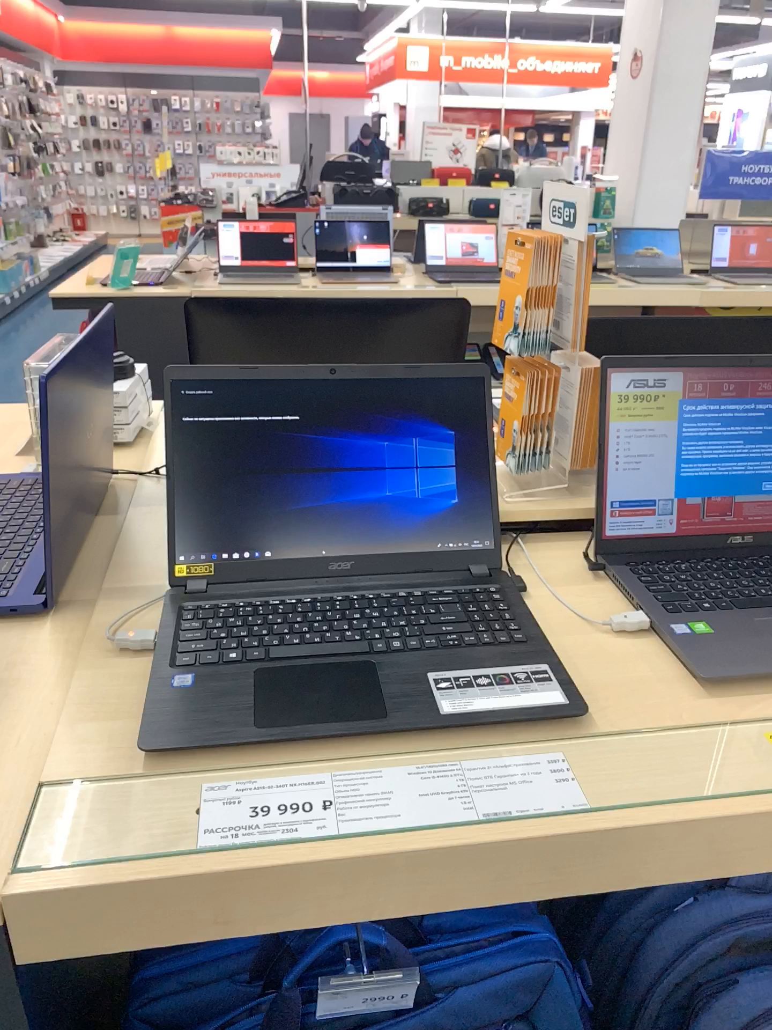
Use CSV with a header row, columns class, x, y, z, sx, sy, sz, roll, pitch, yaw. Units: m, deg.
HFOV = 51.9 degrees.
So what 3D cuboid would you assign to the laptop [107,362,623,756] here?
class,x,y,z,sx,sy,sz,roll,pitch,yaw
laptop,-0.035,0.003,0.782,0.376,0.216,0.377,-3,24,-10
